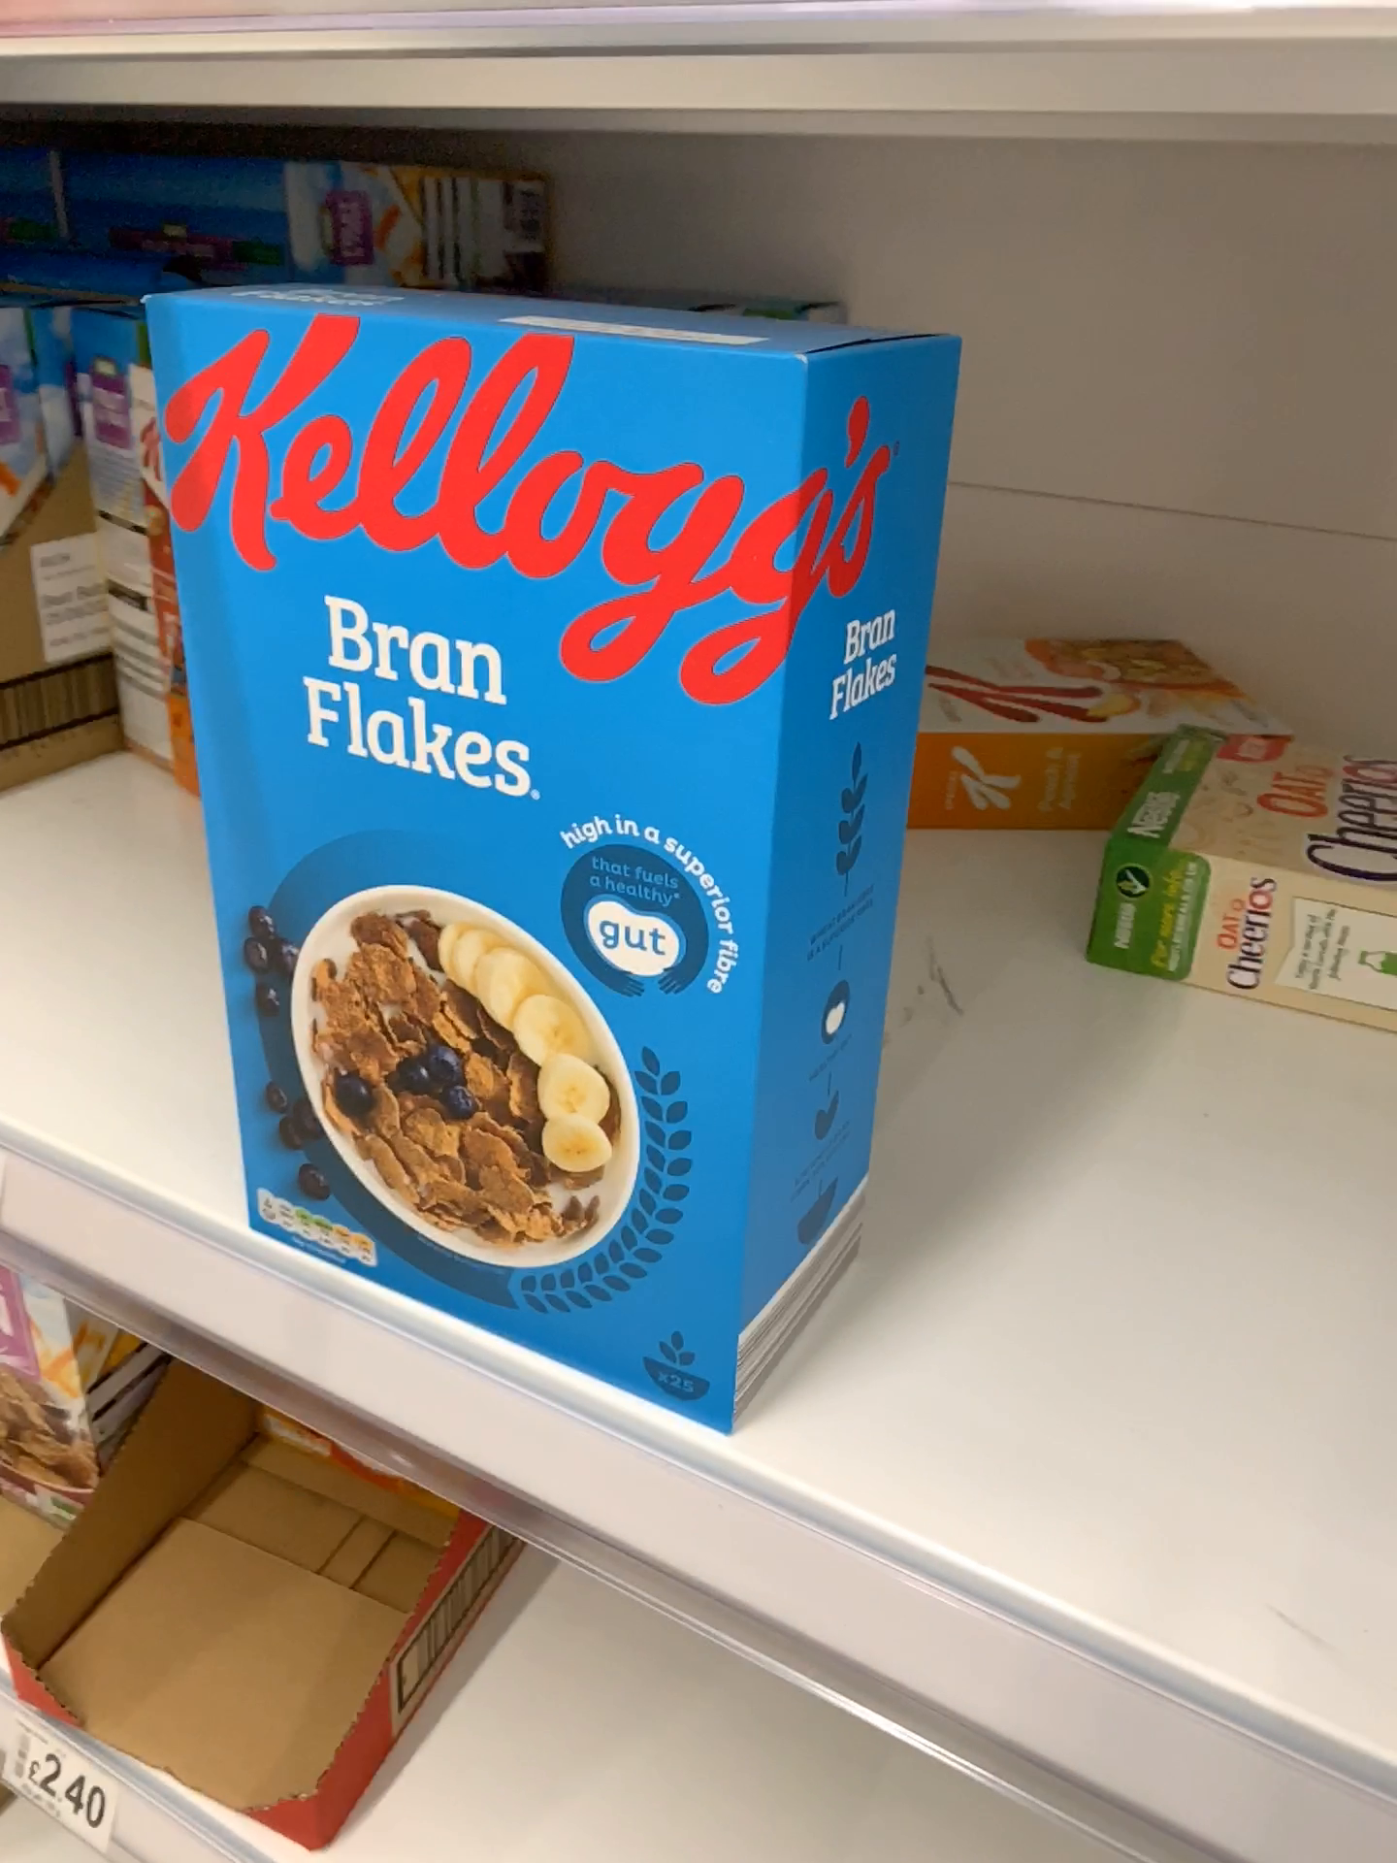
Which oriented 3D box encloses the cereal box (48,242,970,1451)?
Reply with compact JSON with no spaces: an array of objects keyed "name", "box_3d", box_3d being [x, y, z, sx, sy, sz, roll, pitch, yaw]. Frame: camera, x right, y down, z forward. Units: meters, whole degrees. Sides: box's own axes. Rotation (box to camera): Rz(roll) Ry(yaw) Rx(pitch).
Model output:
[{"name":"cereal box","box_3d":[-0.053,-0.030,0.417,0.210,0.297,0.091,15,29,25]}]
